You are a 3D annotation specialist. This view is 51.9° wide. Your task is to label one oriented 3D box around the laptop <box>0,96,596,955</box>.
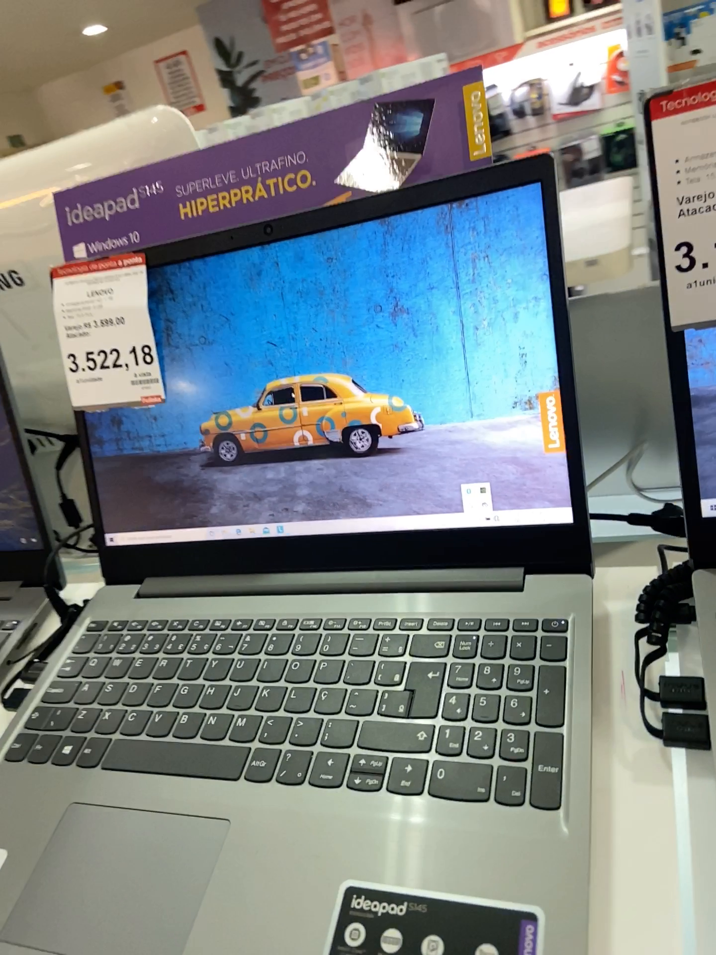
[{"bbox_3d":[-0.073,0.011,0.389,0.346,0.209,0.366,-6,35,23],"label":"laptop"}]
